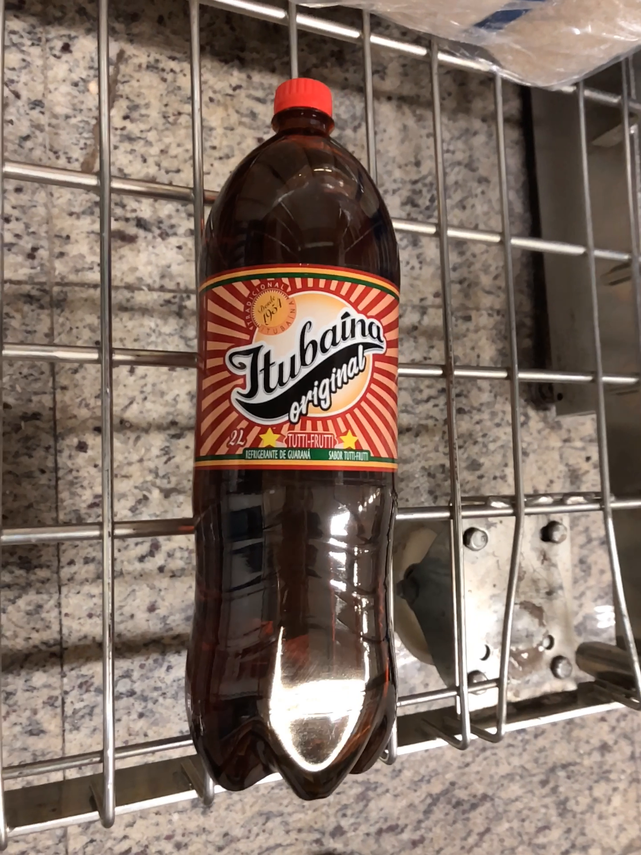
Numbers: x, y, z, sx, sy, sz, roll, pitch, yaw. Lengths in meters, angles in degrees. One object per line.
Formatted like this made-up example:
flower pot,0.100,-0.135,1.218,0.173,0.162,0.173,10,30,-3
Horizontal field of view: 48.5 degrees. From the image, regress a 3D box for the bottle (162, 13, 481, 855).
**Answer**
bottle,0.000,0.004,0.321,0.110,0.070,0.320,4,87,-23
